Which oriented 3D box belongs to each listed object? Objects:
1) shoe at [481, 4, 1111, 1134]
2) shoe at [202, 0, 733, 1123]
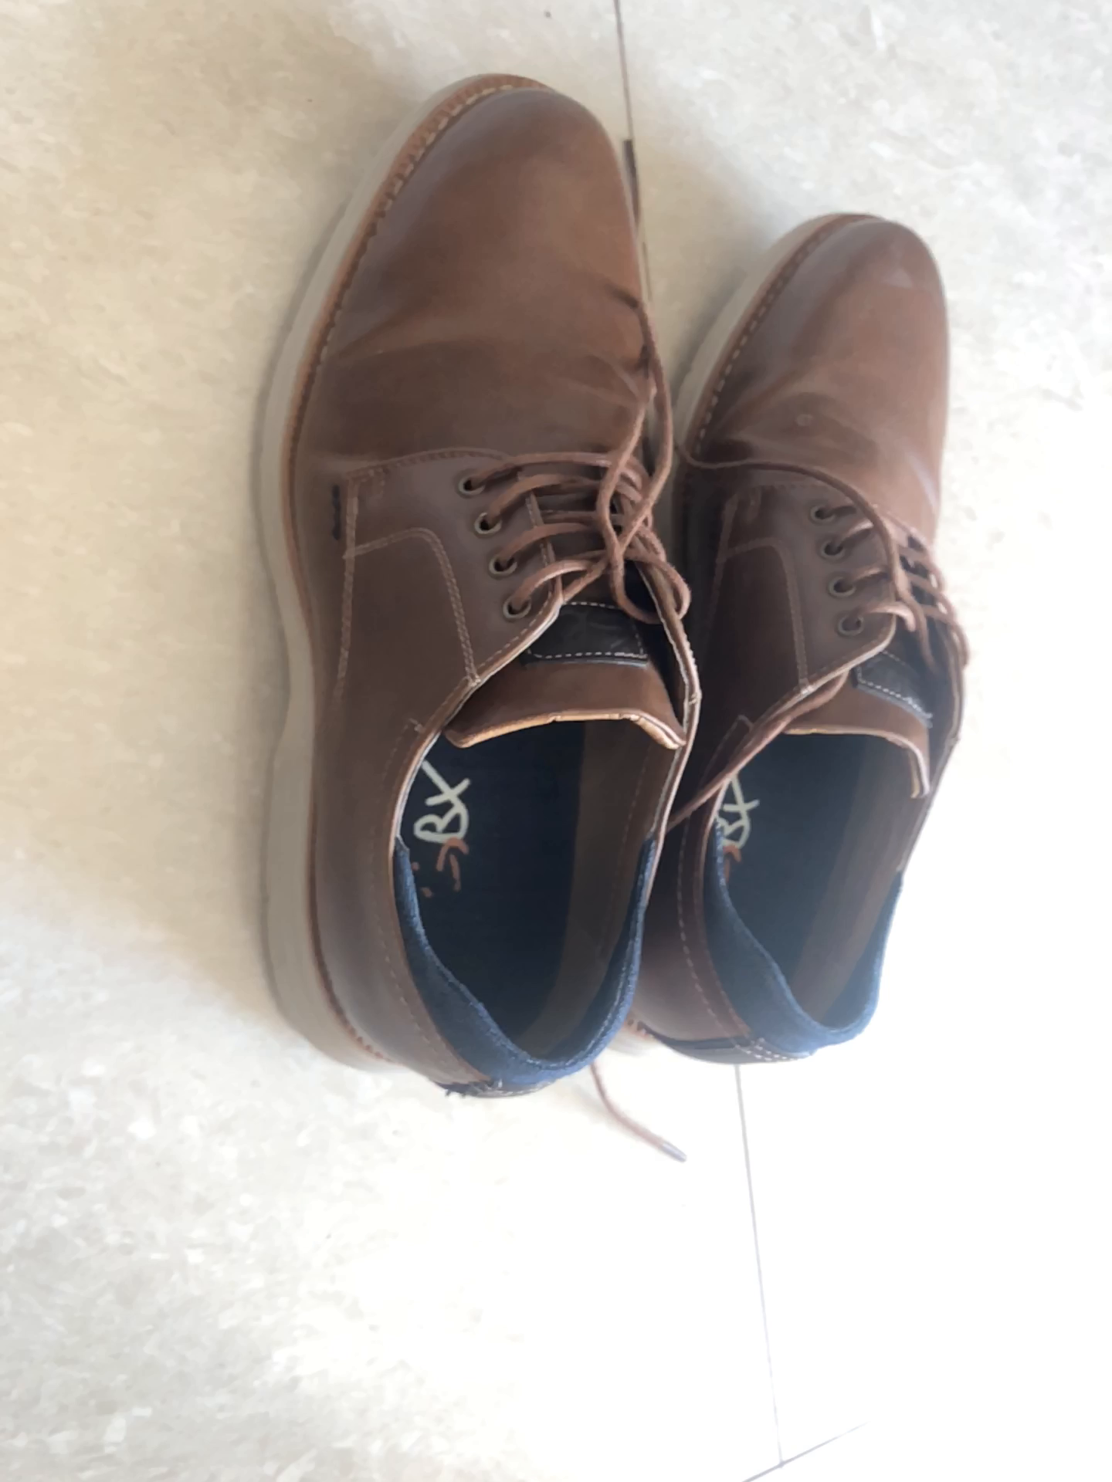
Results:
[{"bbox_3d":[0.080,-0.049,0.402,0.100,0.100,0.310,18,81,-25],"label":"shoe"},{"bbox_3d":[-0.029,-0.059,0.368,0.100,0.100,0.310,6,86,-26],"label":"shoe"}]
